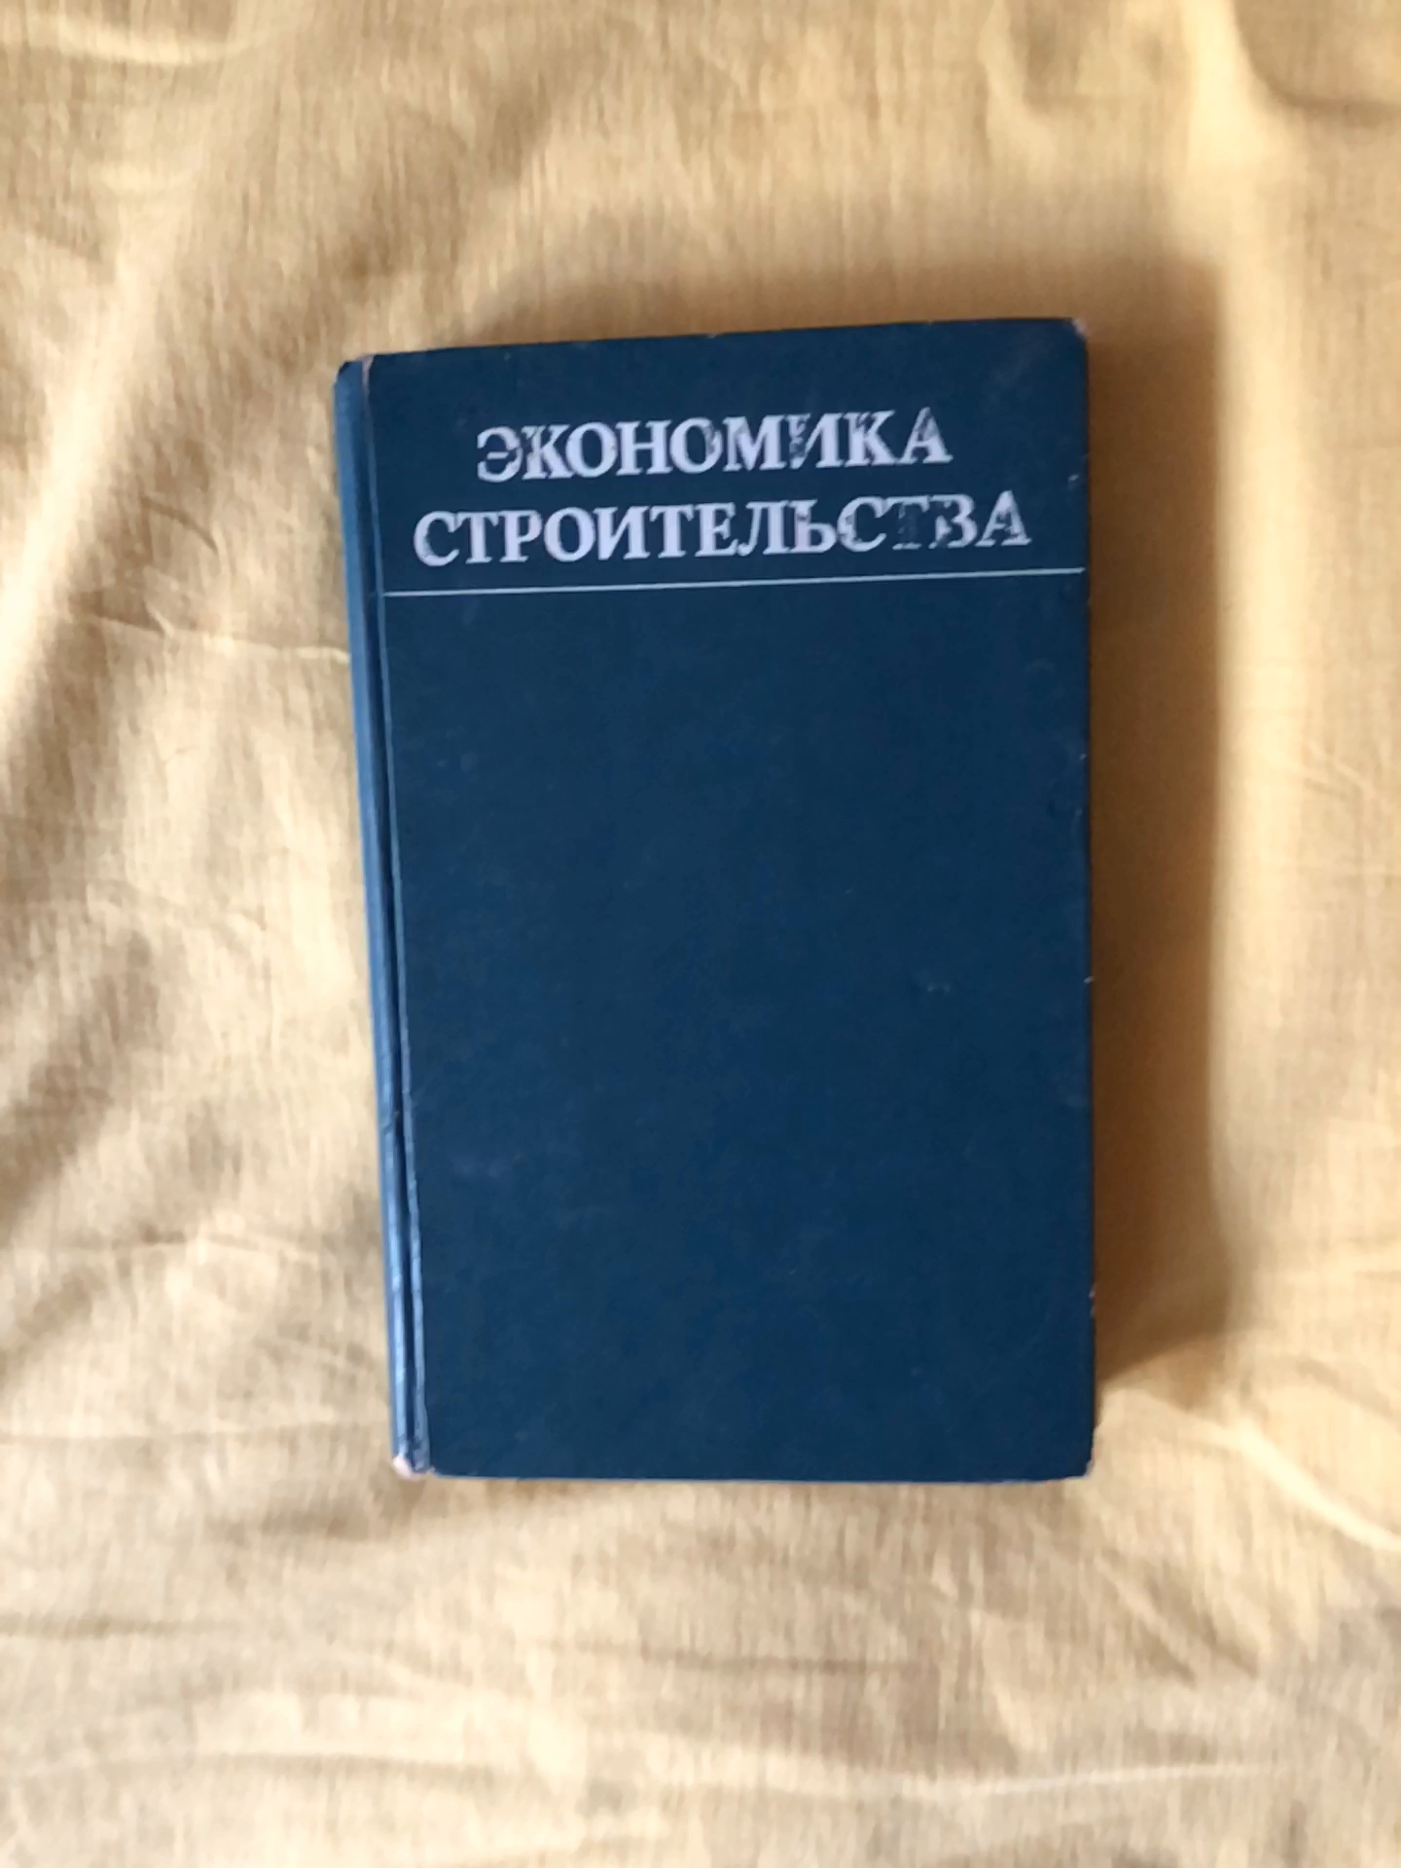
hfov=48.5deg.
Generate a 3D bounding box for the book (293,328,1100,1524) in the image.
[{"bbox_3d":[0.002,0.003,0.278,0.130,0.030,0.200,-2,97,4],"label":"book"}]
